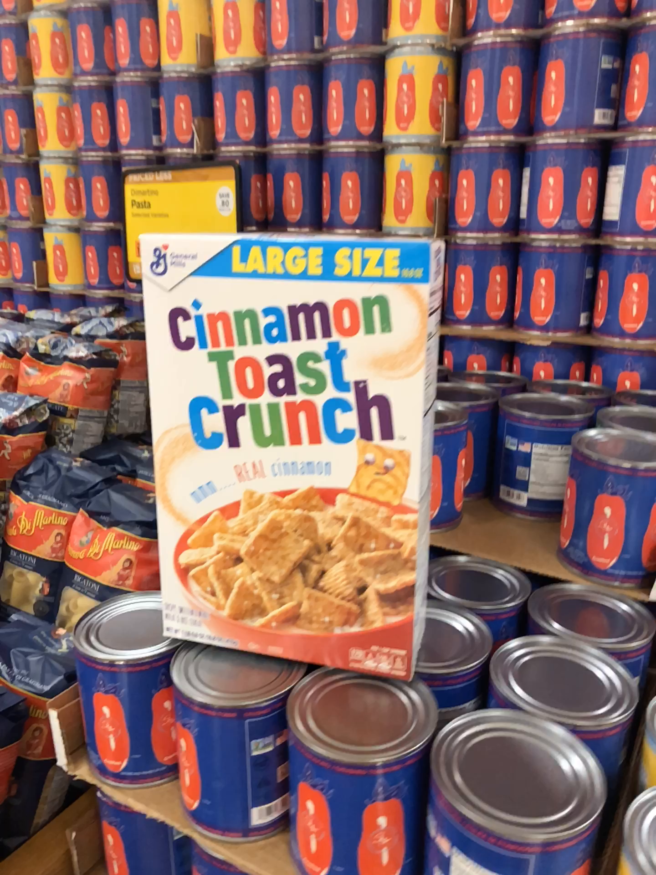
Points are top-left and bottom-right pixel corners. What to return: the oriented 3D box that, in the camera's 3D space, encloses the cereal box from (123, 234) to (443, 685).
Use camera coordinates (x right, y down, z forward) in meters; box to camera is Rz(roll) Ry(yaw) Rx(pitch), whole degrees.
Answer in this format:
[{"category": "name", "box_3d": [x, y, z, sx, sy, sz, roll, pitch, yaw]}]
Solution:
[{"category": "cereal box", "box_3d": [-0.029, 0.011, 0.522, 0.200, 0.298, 0.070, 5, 18, 17]}]
